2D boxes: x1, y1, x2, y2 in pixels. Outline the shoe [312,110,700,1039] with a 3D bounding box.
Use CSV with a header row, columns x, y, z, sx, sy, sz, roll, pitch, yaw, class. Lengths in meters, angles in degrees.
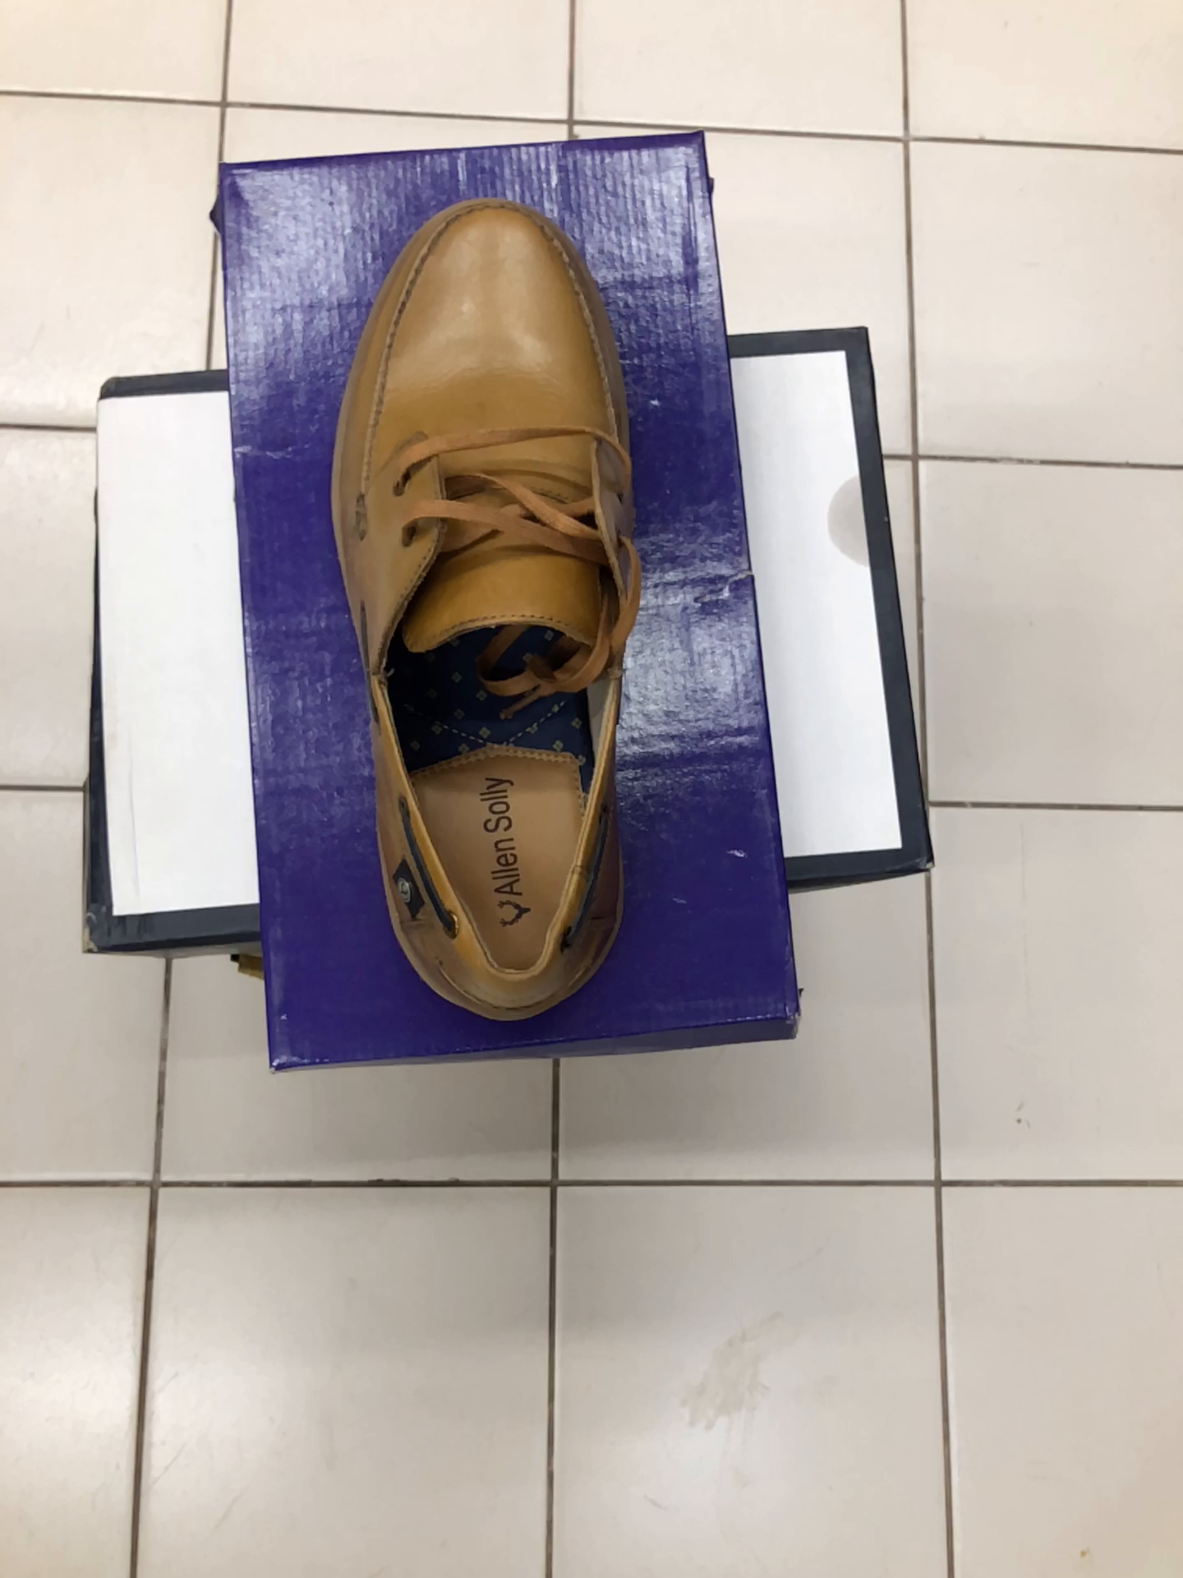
x,y,z,sx,sy,sz,roll,pitch,yaw,class
-0.030,-0.058,0.412,0.100,0.110,0.260,-1,82,-5,shoe
